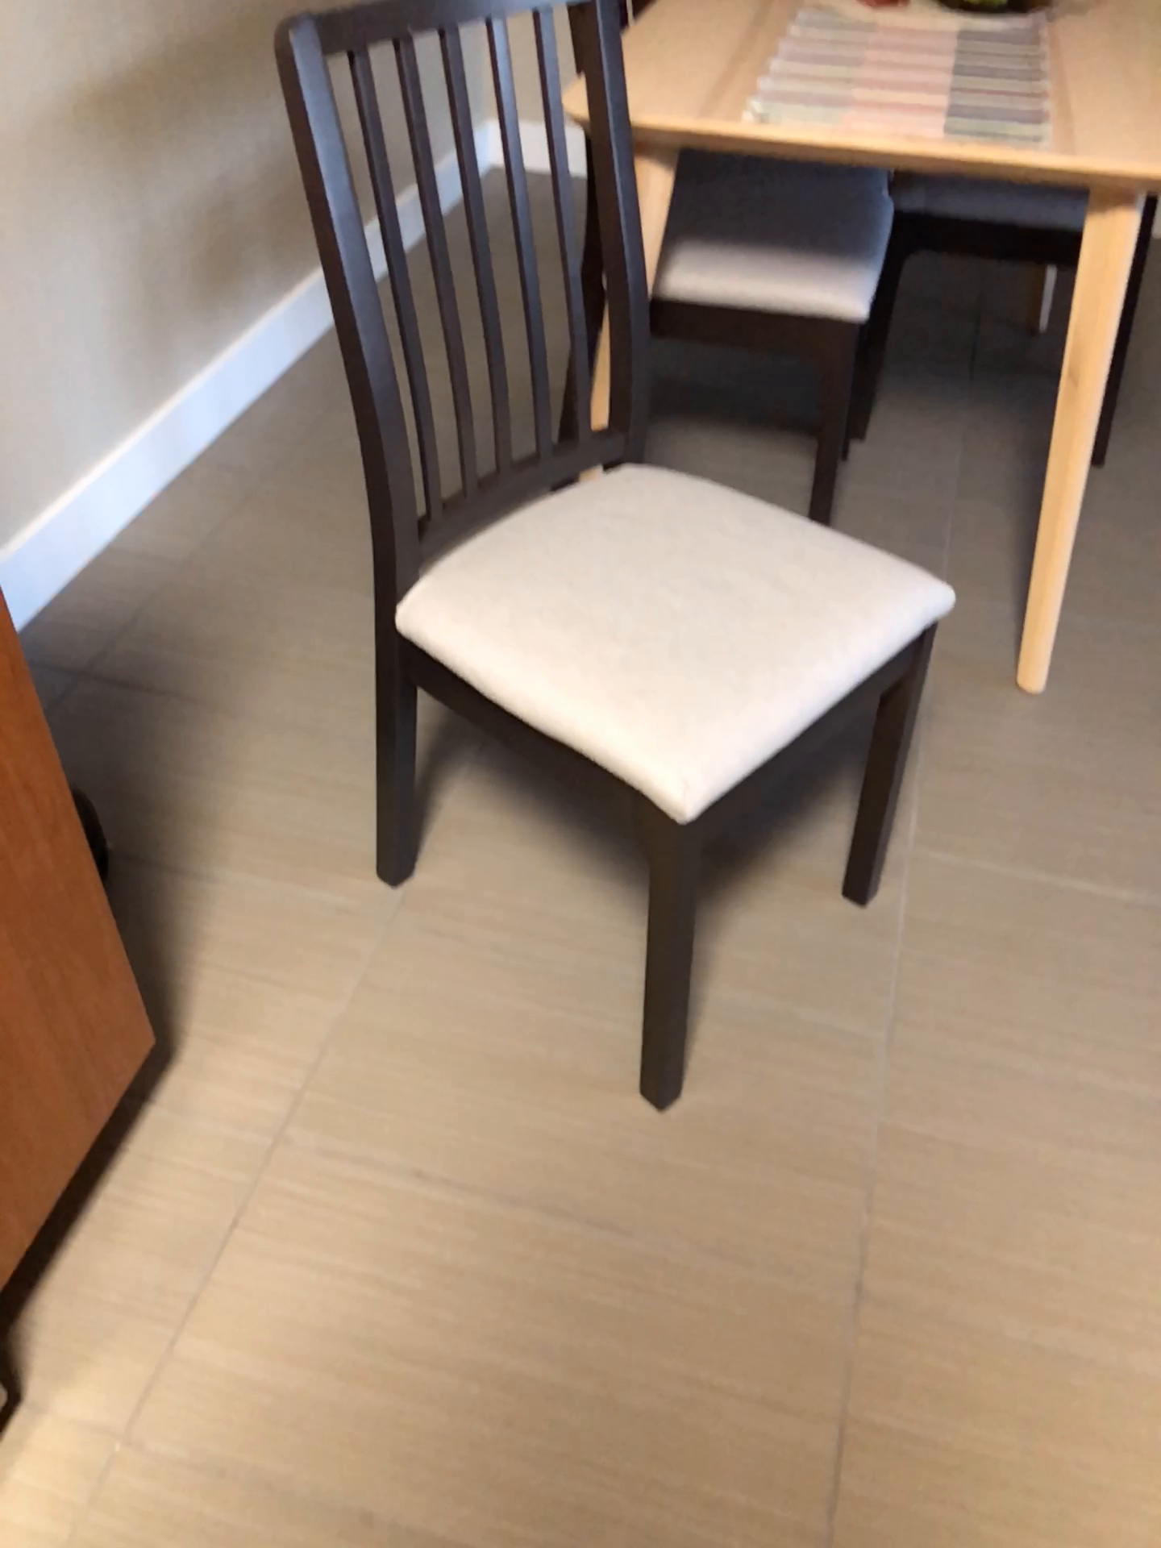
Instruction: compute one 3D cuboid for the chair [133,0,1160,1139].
[{"bbox_3d":[0.070,-0.241,1.258,0.591,0.846,0.582,31,49,29],"label":"chair"}]
